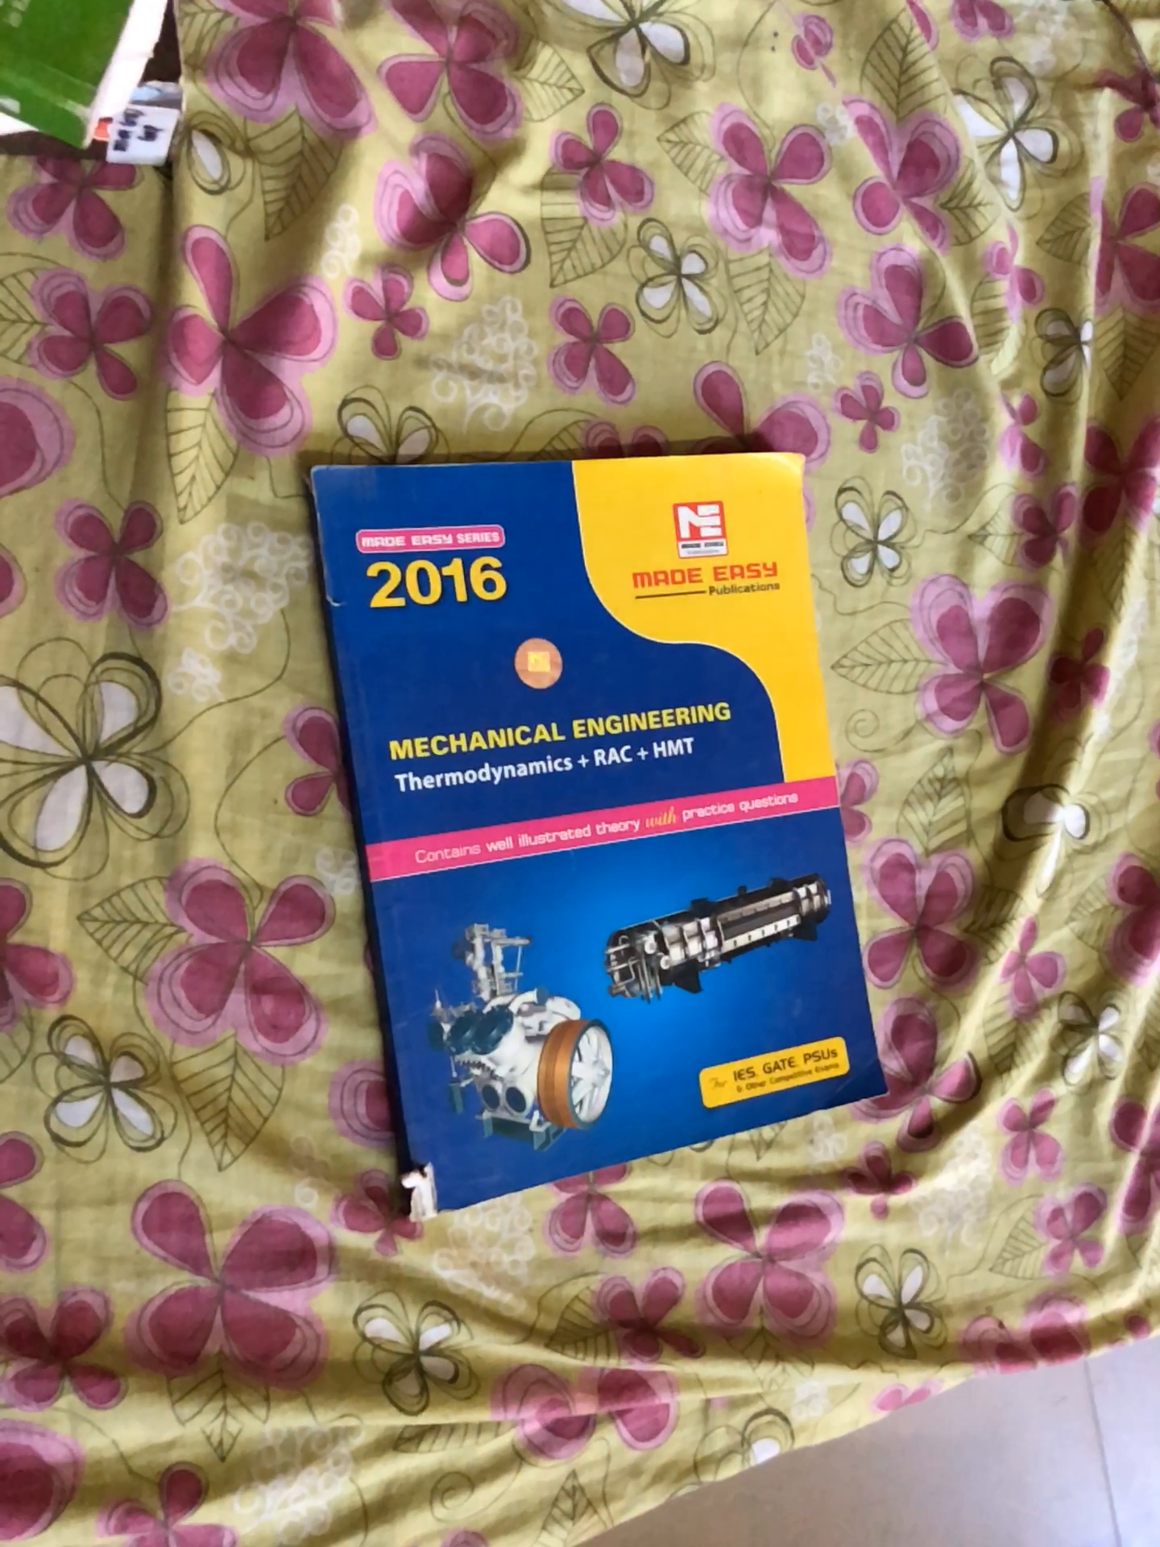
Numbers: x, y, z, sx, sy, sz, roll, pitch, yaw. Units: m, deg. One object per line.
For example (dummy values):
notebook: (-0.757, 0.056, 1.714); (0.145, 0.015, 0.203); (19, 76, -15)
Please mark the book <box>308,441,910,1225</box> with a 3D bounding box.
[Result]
book: (0.016, 0.013, 0.499); (0.200, 0.030, 0.269); (-8, 90, -20)
